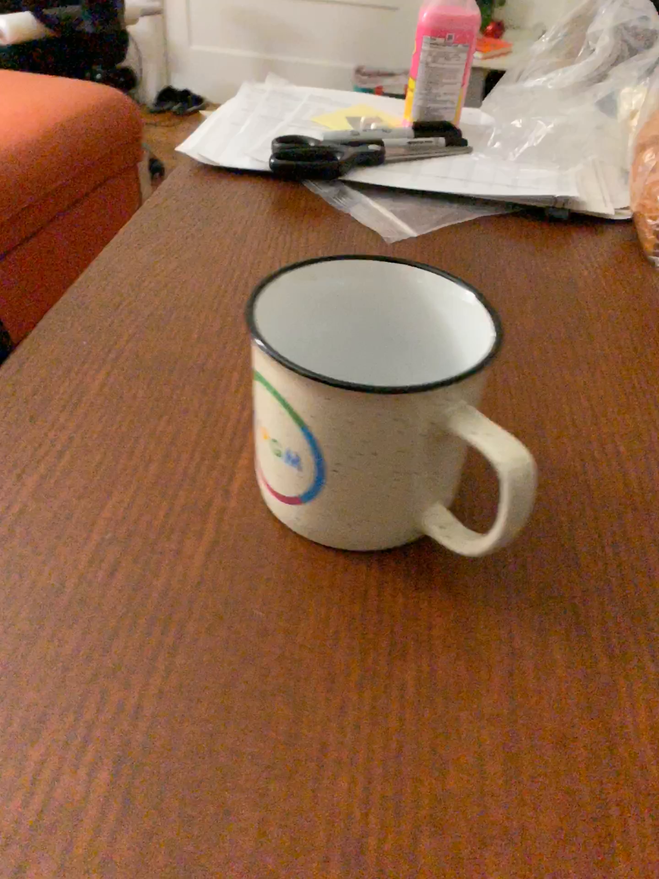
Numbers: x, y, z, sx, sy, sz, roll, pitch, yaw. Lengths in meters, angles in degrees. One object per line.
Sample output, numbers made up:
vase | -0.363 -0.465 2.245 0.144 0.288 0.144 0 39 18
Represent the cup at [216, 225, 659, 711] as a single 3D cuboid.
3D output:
cup | 0.038 -0.001 0.276 0.100 0.099 0.151 -23 48 -29
